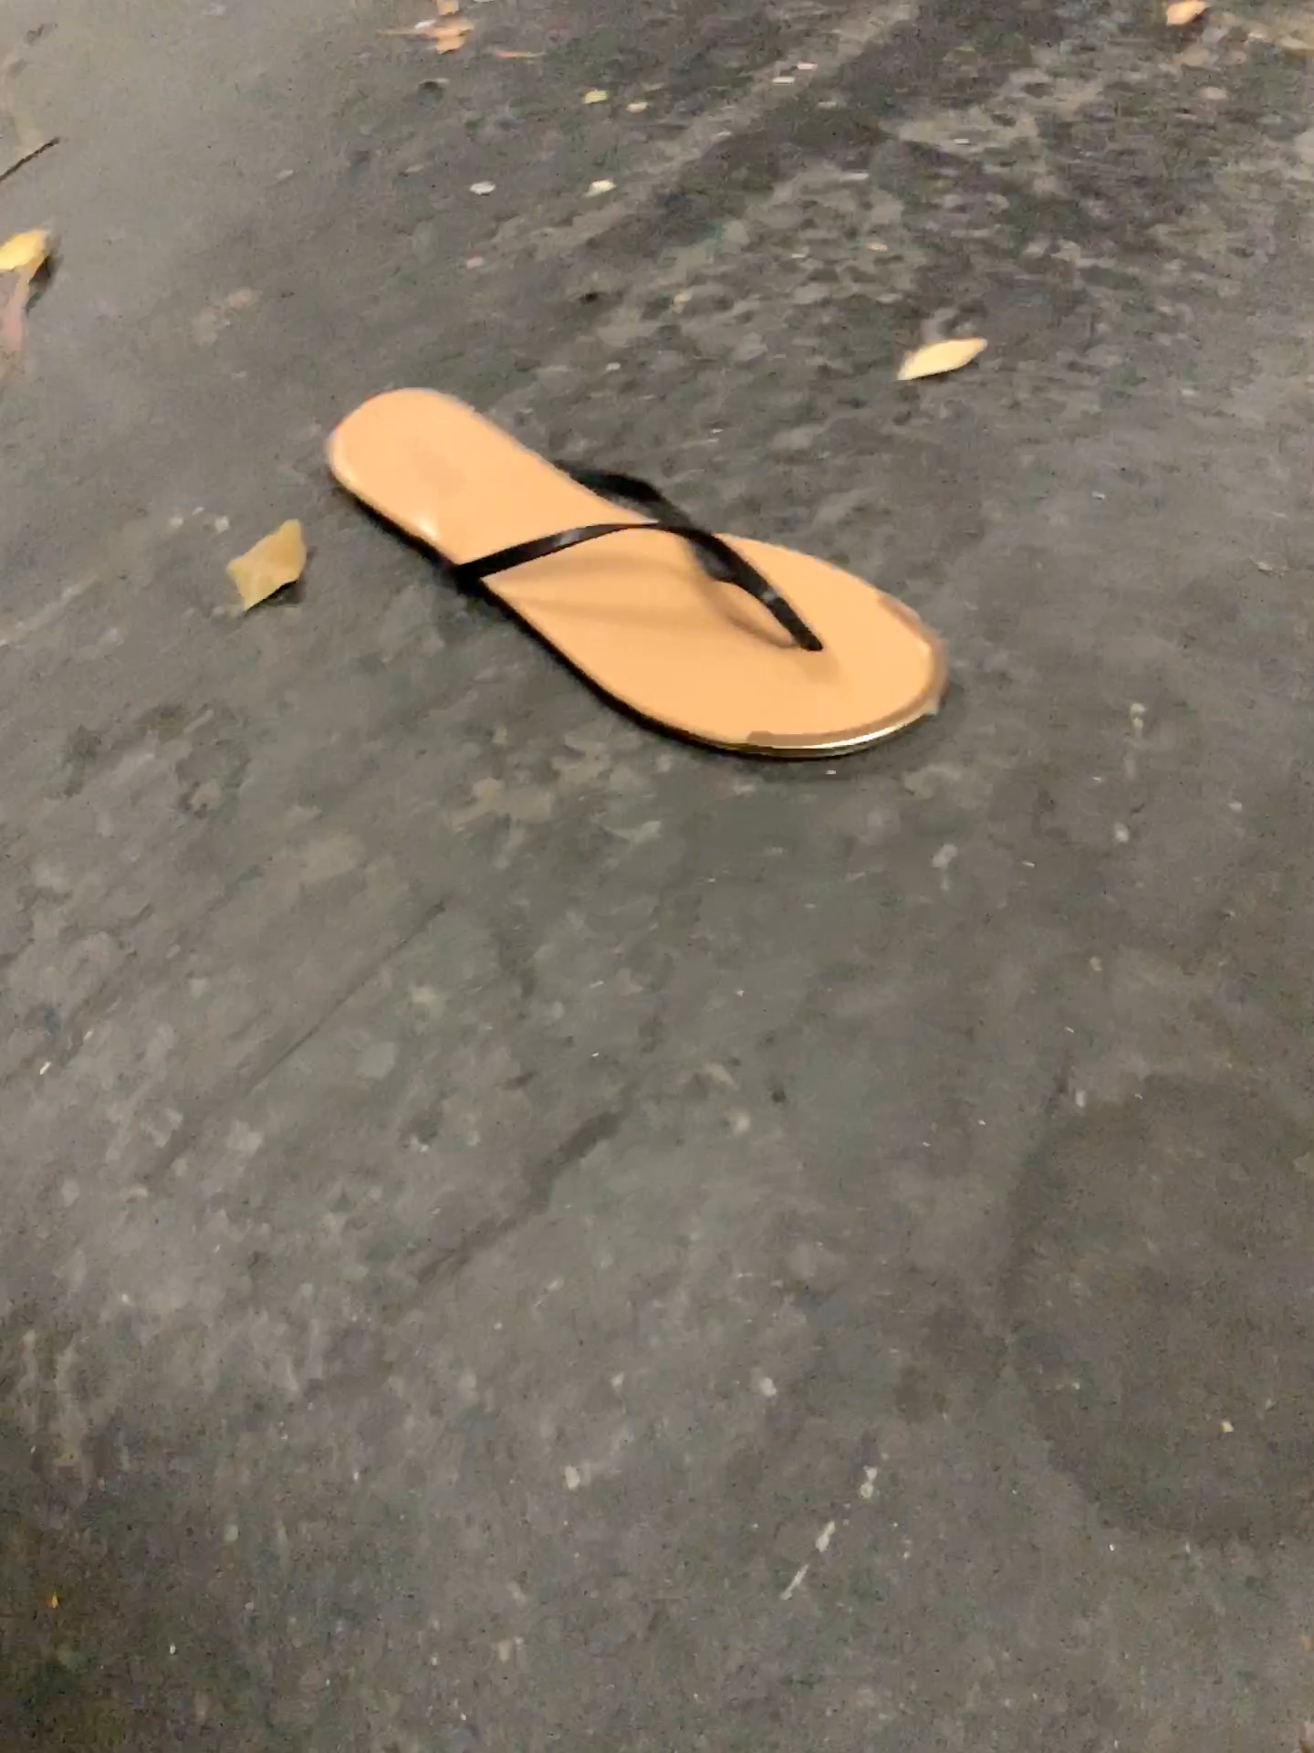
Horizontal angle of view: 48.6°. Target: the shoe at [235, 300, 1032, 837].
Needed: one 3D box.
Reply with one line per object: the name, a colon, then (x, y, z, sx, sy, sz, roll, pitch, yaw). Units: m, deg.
shoe: (-0.015, -0.129, 0.561, 0.290, 0.030, 0.110, 29, 69, 19)
